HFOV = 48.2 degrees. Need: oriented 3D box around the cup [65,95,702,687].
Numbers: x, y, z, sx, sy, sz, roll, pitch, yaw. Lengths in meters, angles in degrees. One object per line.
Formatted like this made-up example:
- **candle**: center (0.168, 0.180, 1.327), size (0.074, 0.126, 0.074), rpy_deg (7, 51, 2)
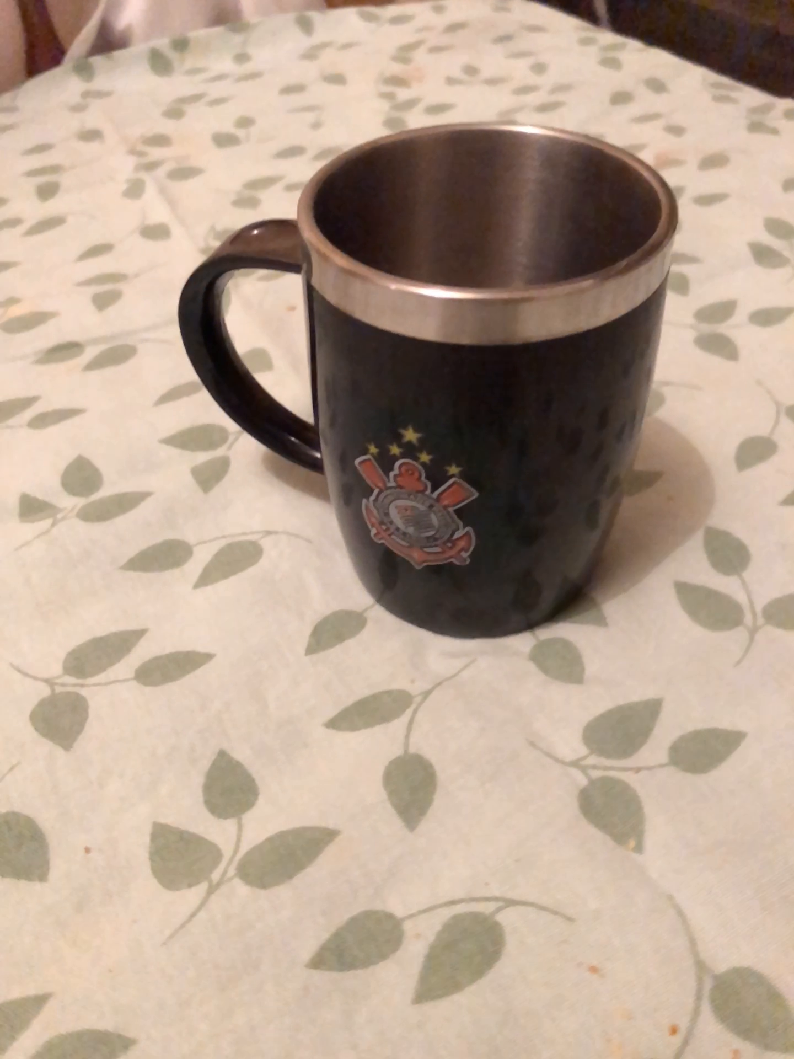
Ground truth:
- **cup**: center (0.005, -0.040, 0.250), size (0.130, 0.119, 0.091), rpy_deg (9, 46, 12)
